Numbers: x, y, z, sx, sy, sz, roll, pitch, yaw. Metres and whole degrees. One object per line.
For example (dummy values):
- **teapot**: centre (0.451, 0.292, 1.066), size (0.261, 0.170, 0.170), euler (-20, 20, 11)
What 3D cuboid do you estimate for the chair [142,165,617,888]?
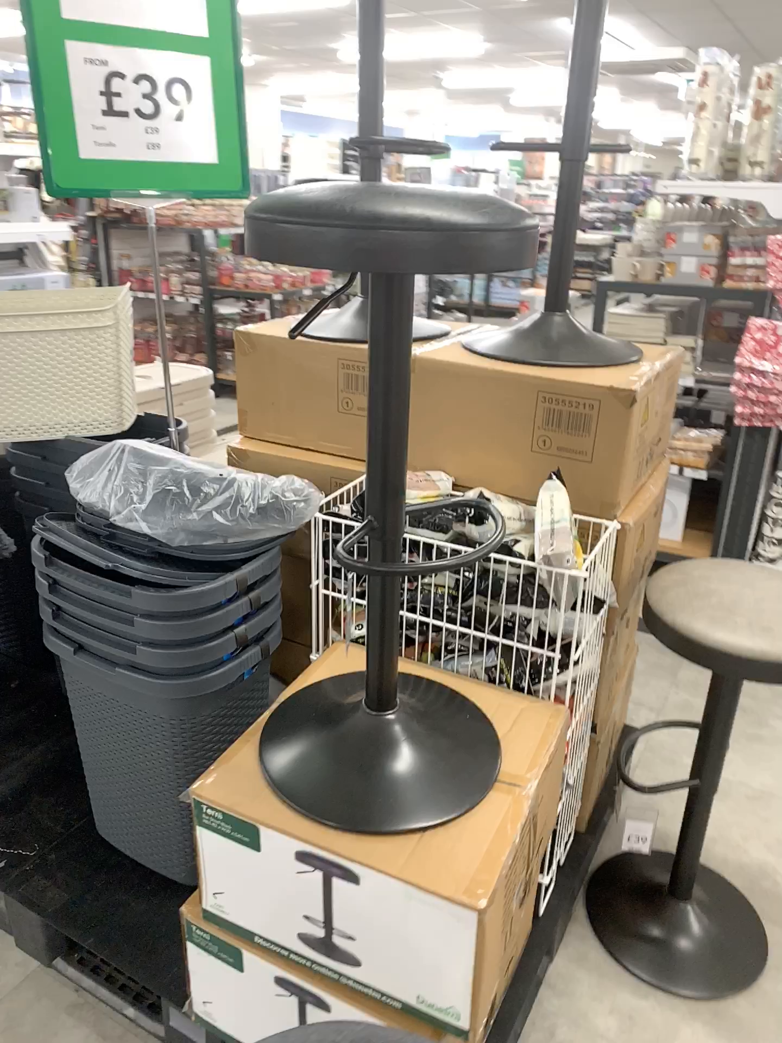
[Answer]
- **chair**: centre (-0.003, -0.033, 1.068), size (0.408, 0.794, 0.398), euler (13, 25, 26)
